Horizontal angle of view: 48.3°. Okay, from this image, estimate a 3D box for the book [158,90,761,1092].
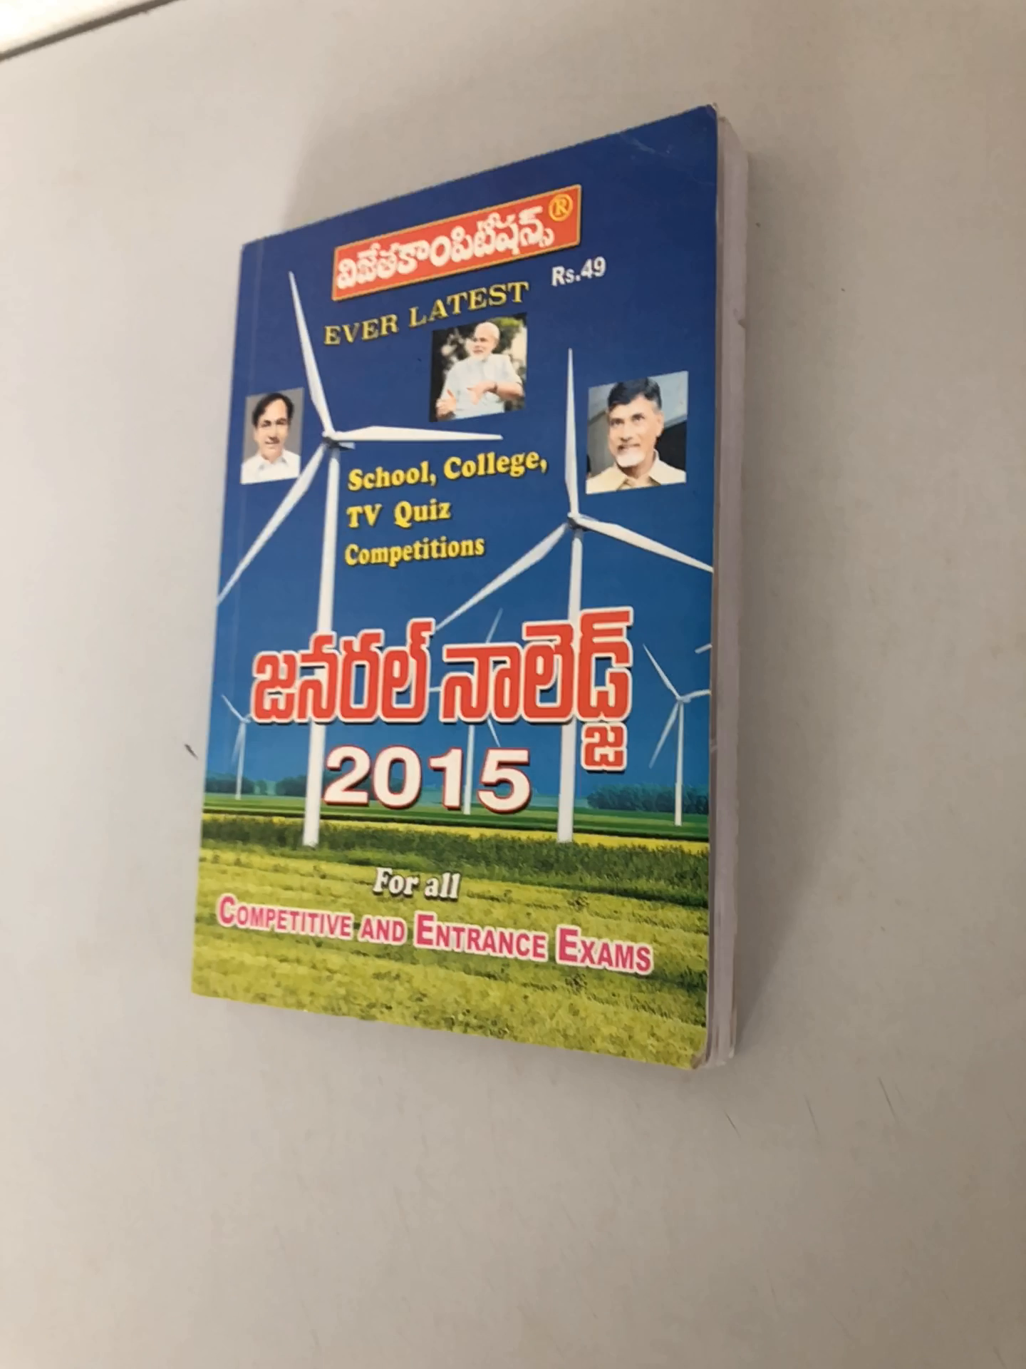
[{"bbox_3d":[-0.014,-0.019,0.246,0.129,0.022,0.182,-2,82,29],"label":"book"}]
